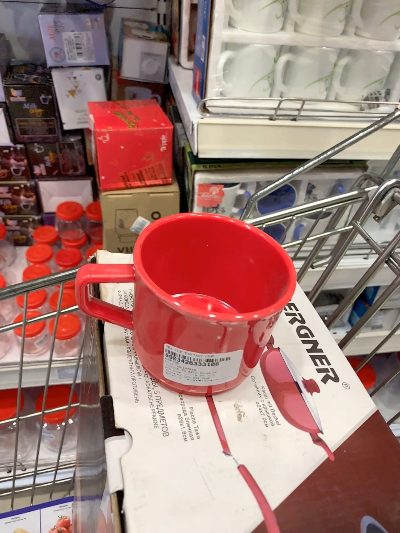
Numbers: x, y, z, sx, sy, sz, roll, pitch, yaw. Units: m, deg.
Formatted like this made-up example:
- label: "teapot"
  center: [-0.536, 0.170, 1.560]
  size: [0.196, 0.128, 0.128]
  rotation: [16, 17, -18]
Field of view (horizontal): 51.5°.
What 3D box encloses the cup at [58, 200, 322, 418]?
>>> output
- label: "cup"
  center: [-0.009, 0.016, 0.185]
  size: [0.090, 0.060, 0.070]
  rotation: [0, 41, -11]
